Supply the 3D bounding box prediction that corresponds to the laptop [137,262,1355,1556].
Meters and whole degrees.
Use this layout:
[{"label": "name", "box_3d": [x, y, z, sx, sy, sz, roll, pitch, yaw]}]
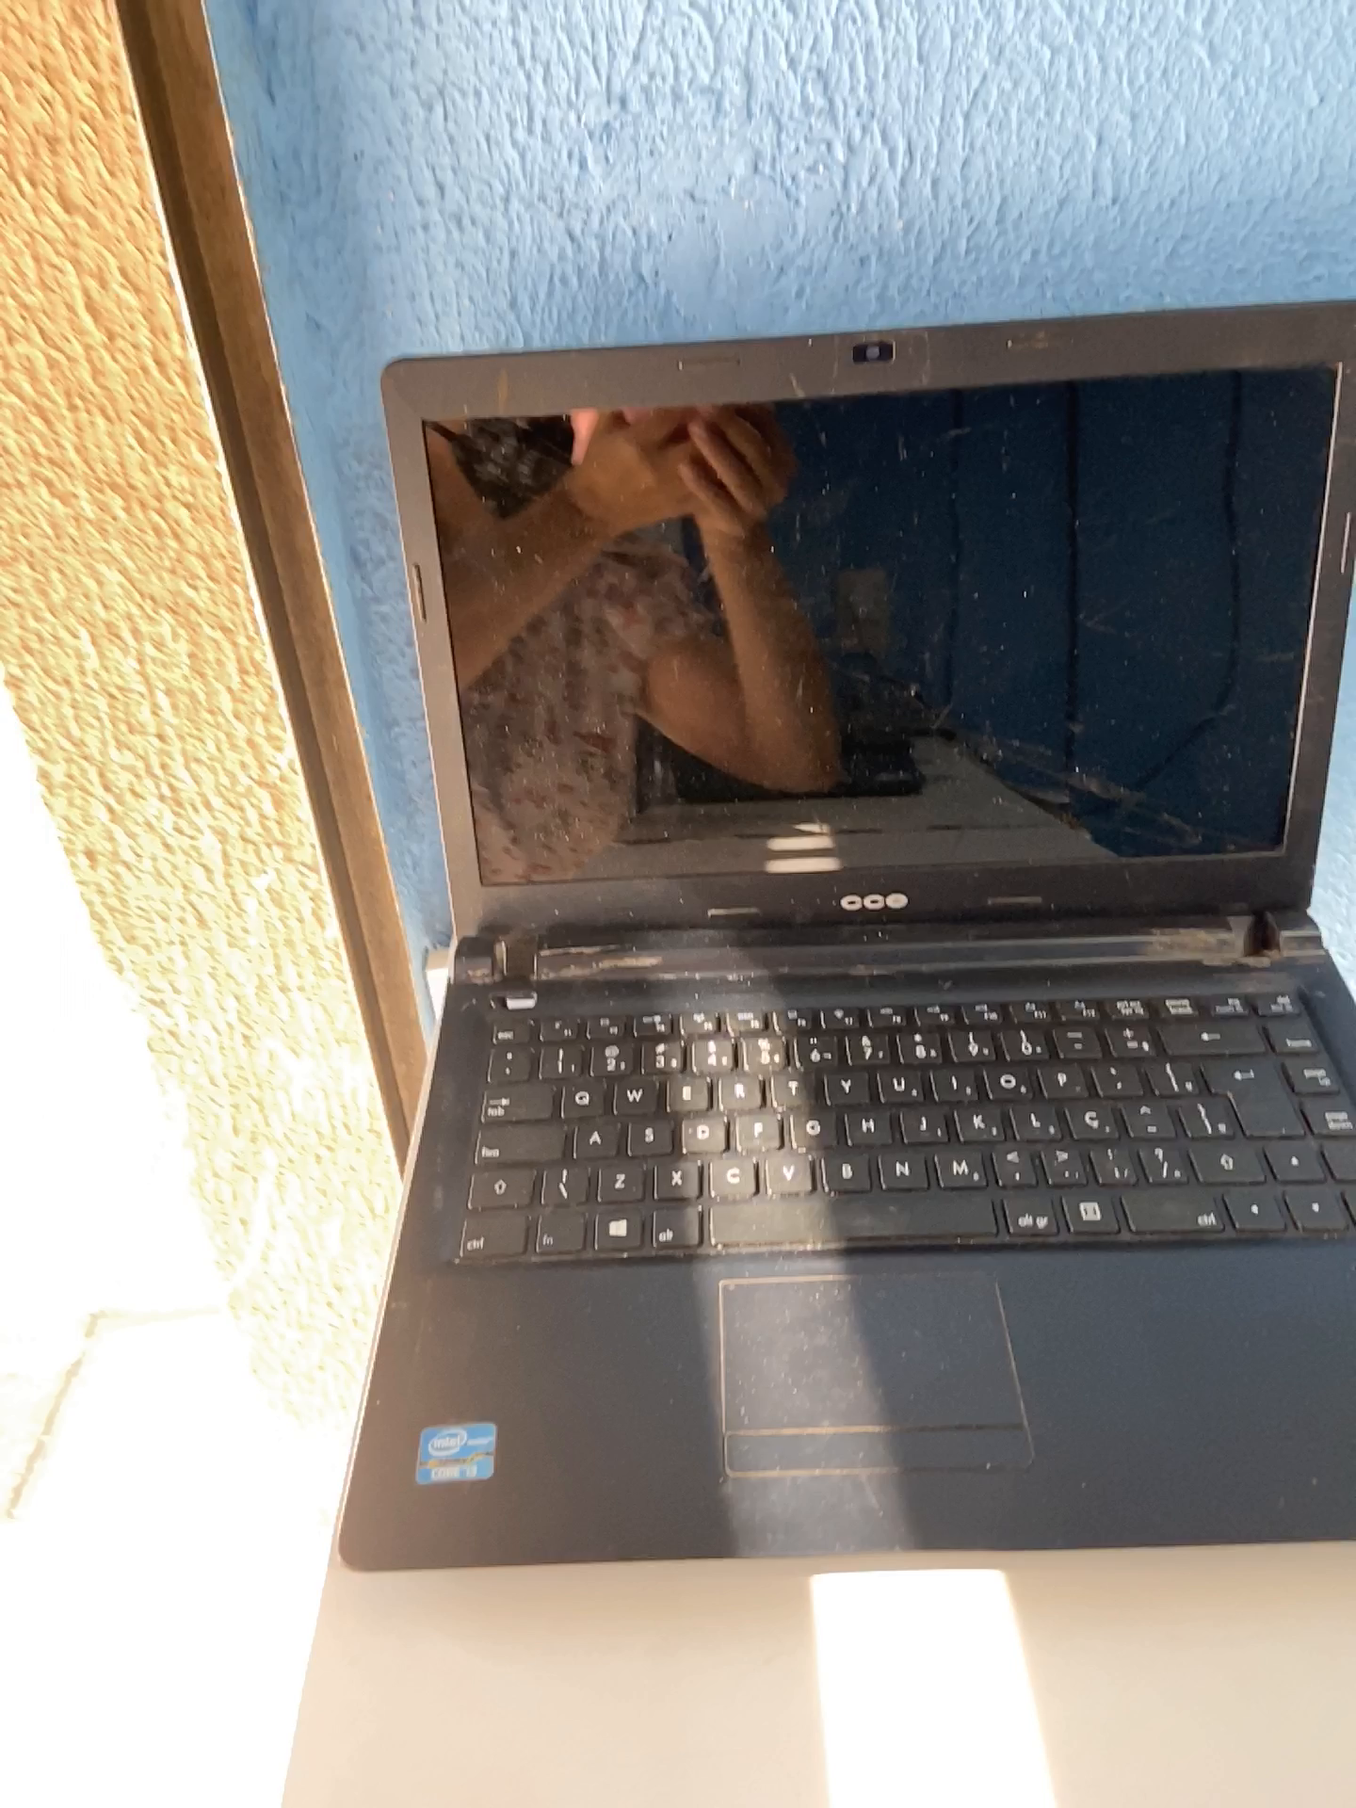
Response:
[{"label": "laptop", "box_3d": [0.074, -0.023, 0.423, 0.333, 0.210, 0.314, -3, 38, 3]}]
